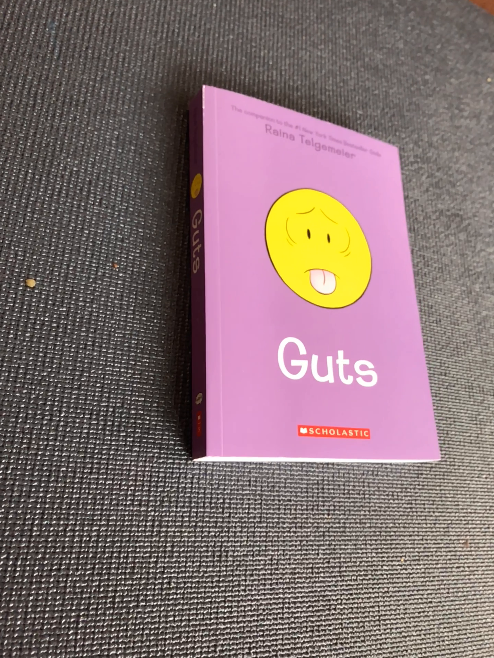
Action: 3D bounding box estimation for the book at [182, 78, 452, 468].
[{"bbox_3d":[0.036,-0.028,0.306,0.143,0.024,0.202,7,68,-26],"label":"book"}]
